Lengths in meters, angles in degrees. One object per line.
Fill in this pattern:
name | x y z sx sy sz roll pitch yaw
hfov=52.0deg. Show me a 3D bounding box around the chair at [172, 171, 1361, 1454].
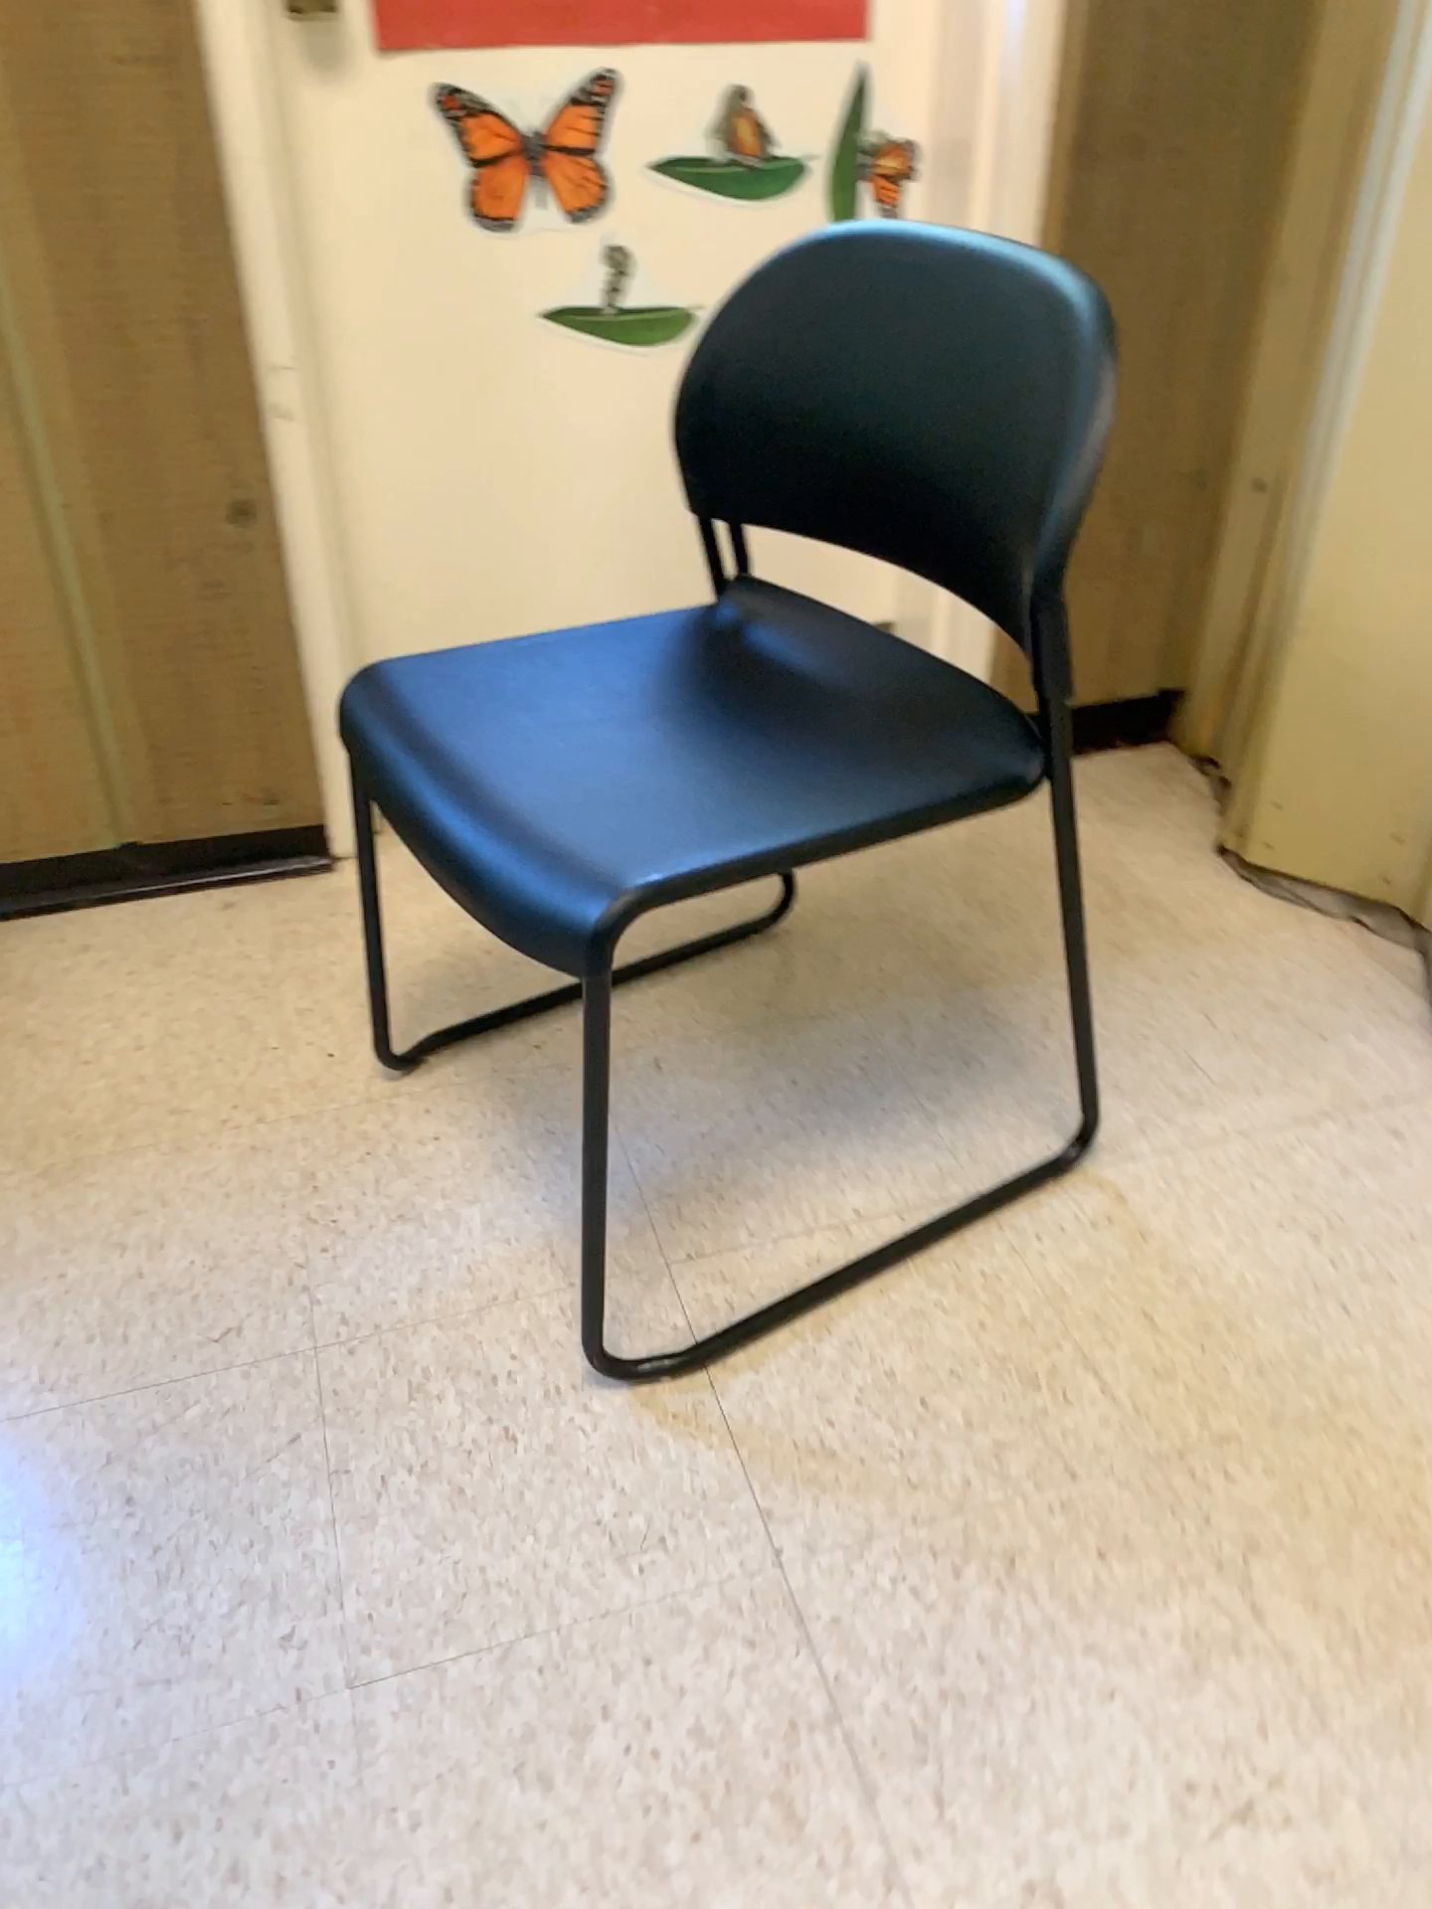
chair | 0.013 -0.178 1.258 0.621 0.795 0.583 -20 39 -28
